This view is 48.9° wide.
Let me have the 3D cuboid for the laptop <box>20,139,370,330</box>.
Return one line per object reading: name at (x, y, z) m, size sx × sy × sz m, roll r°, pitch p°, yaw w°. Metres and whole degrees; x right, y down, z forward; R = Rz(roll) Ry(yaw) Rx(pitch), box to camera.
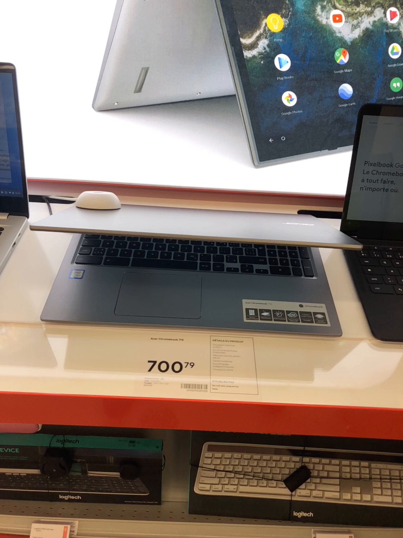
laptop at (-0.002, -0.055, 0.592) m, size 0.368 × 0.109 × 0.245 m, roll 3°, pitch 41°, yaw -3°
